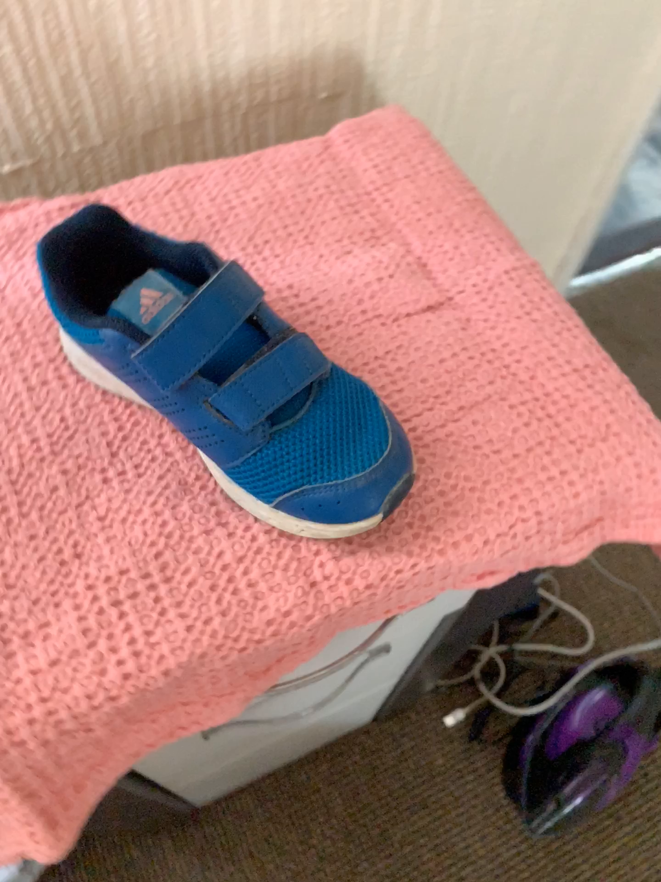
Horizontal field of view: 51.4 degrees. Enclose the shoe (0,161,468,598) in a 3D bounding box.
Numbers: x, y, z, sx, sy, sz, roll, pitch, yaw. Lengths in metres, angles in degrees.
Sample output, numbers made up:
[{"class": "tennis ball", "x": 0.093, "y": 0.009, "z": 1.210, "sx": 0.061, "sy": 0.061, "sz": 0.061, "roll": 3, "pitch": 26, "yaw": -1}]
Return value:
[{"class": "shoe", "x": -0.054, "y": -0.033, "z": 0.322, "sx": 0.207, "sy": 0.075, "sz": 0.084, "roll": 35, "pitch": 63, "yaw": 16}]
